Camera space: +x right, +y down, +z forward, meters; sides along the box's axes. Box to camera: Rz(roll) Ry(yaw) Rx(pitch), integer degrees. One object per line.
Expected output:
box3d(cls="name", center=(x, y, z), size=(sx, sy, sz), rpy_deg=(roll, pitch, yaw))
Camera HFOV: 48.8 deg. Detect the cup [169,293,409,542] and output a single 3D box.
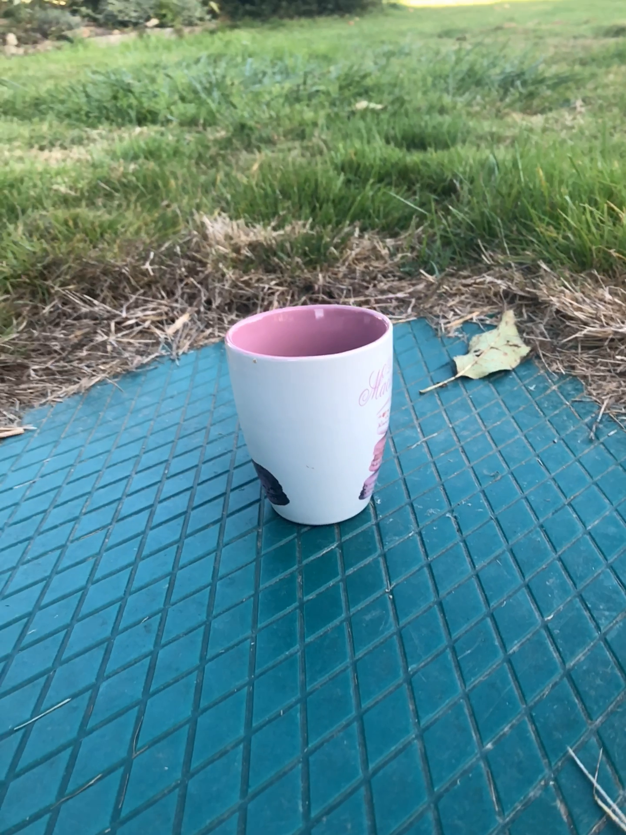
box3d(cls="cup", center=(-0.004, -0.008, 0.392), size=(0.095, 0.091, 0.121), rpy_deg=(3, 28, 16))
